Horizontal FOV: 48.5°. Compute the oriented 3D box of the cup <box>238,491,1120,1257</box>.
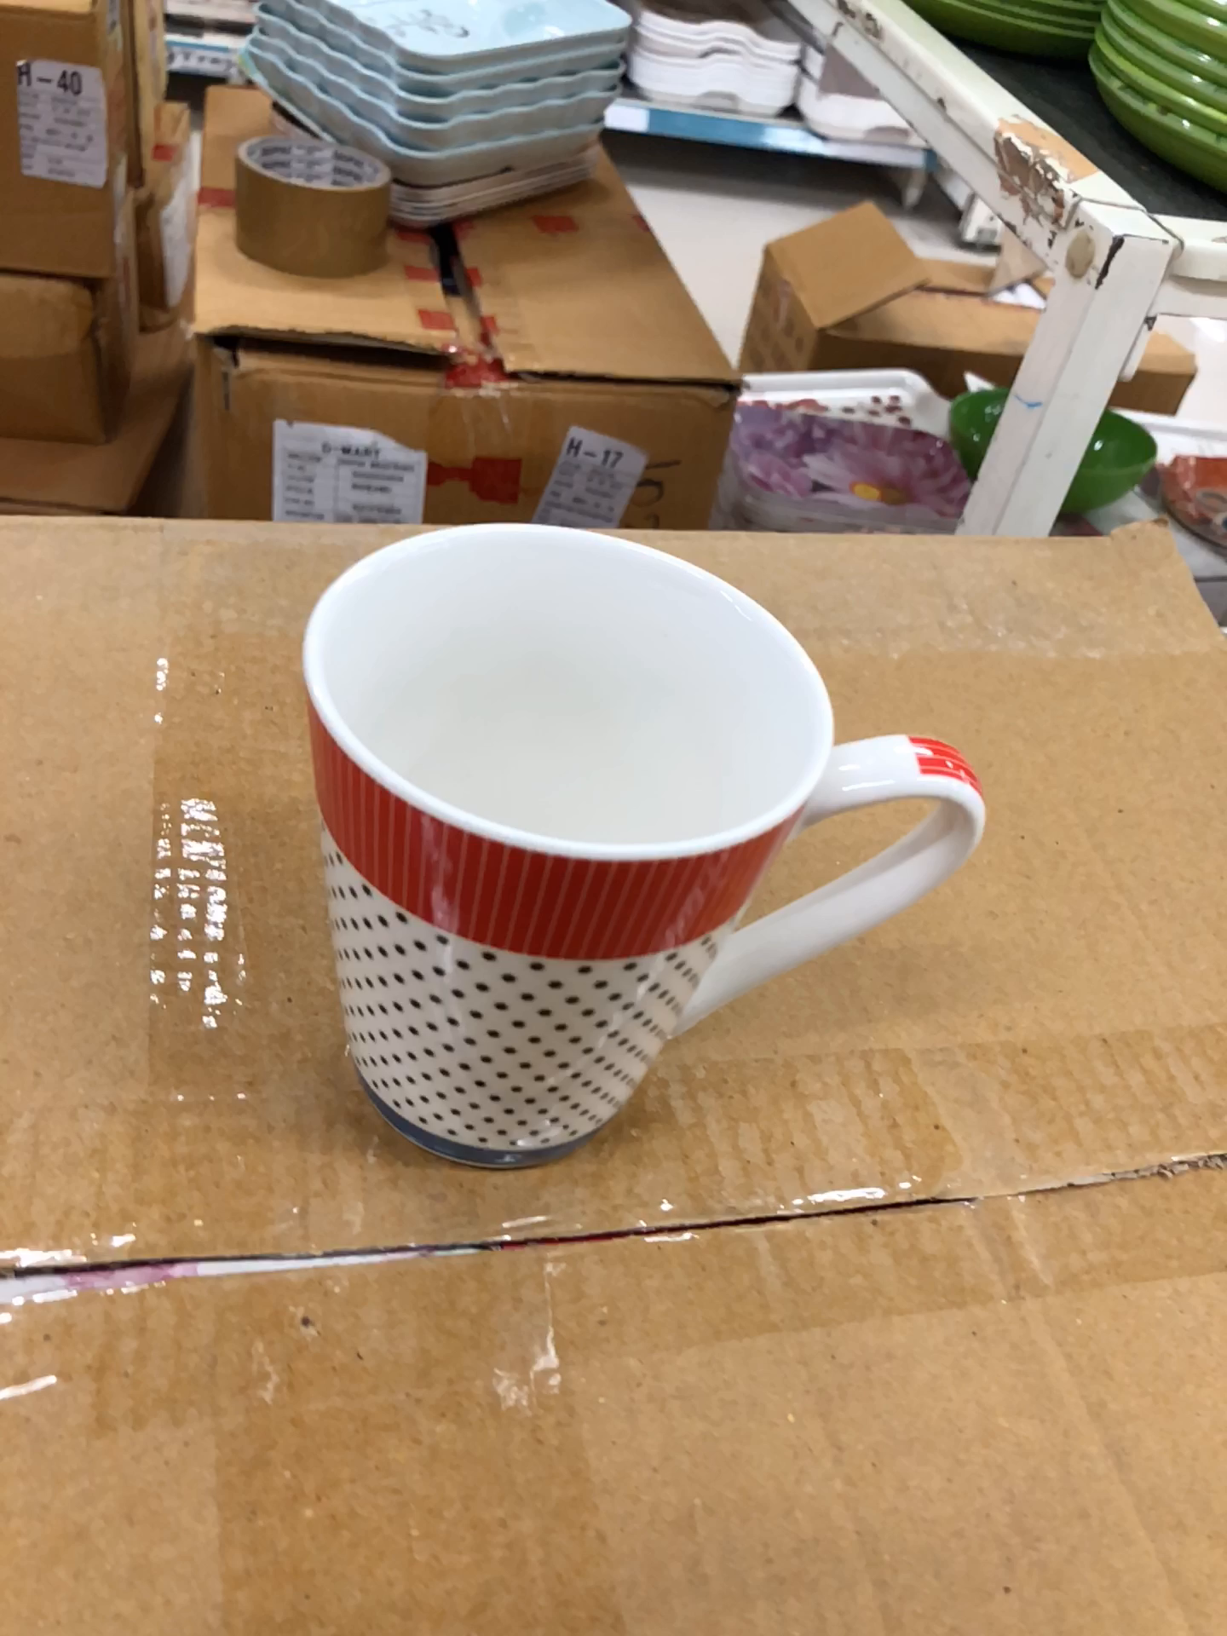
[{"bbox_3d":[0.000,0.004,0.246,0.120,0.089,0.090,-5,45,-19],"label":"cup"}]
